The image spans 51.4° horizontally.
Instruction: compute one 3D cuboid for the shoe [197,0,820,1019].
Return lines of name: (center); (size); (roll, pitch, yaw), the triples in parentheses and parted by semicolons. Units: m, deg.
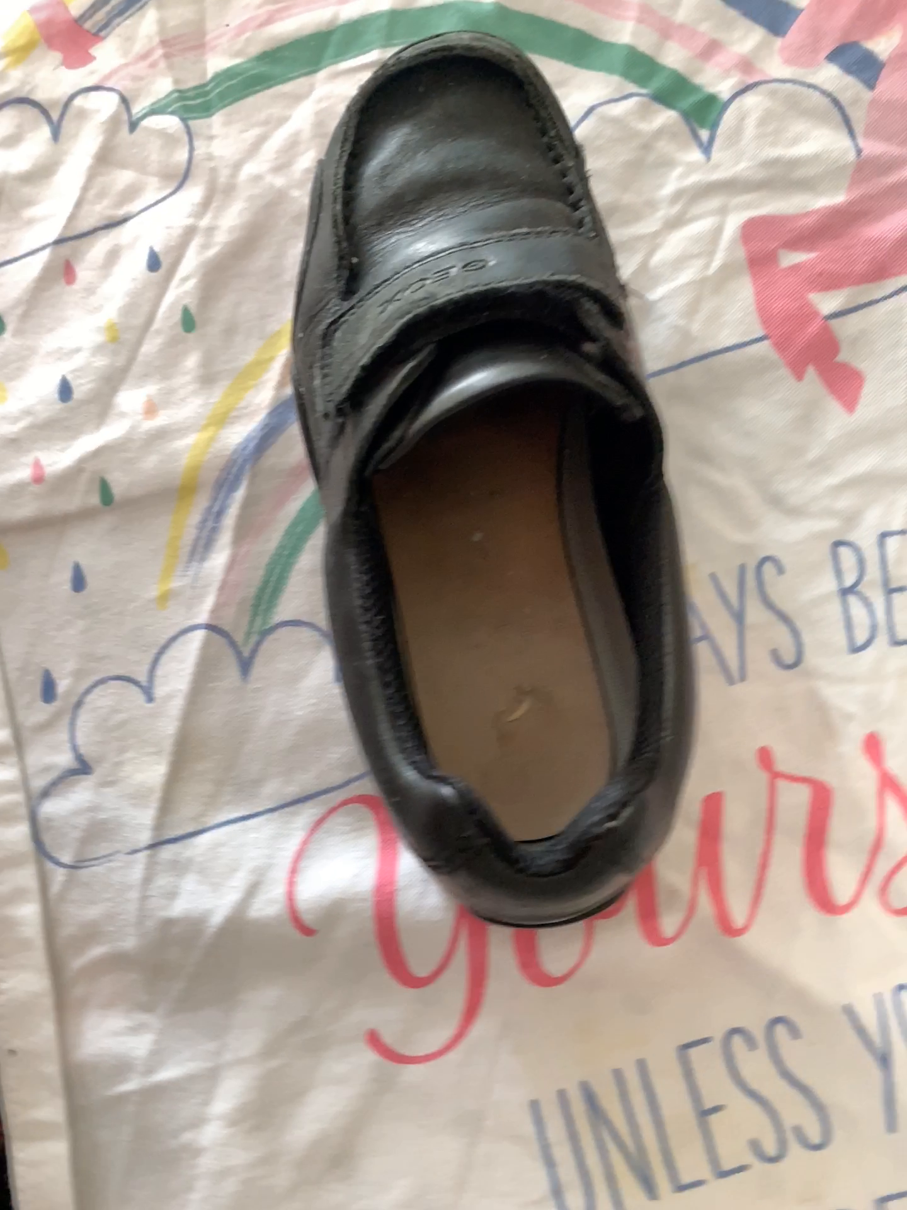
shoe: (0.008, -0.034, 0.238); (0.080, 0.140, 0.220); (-9, 77, 4)
